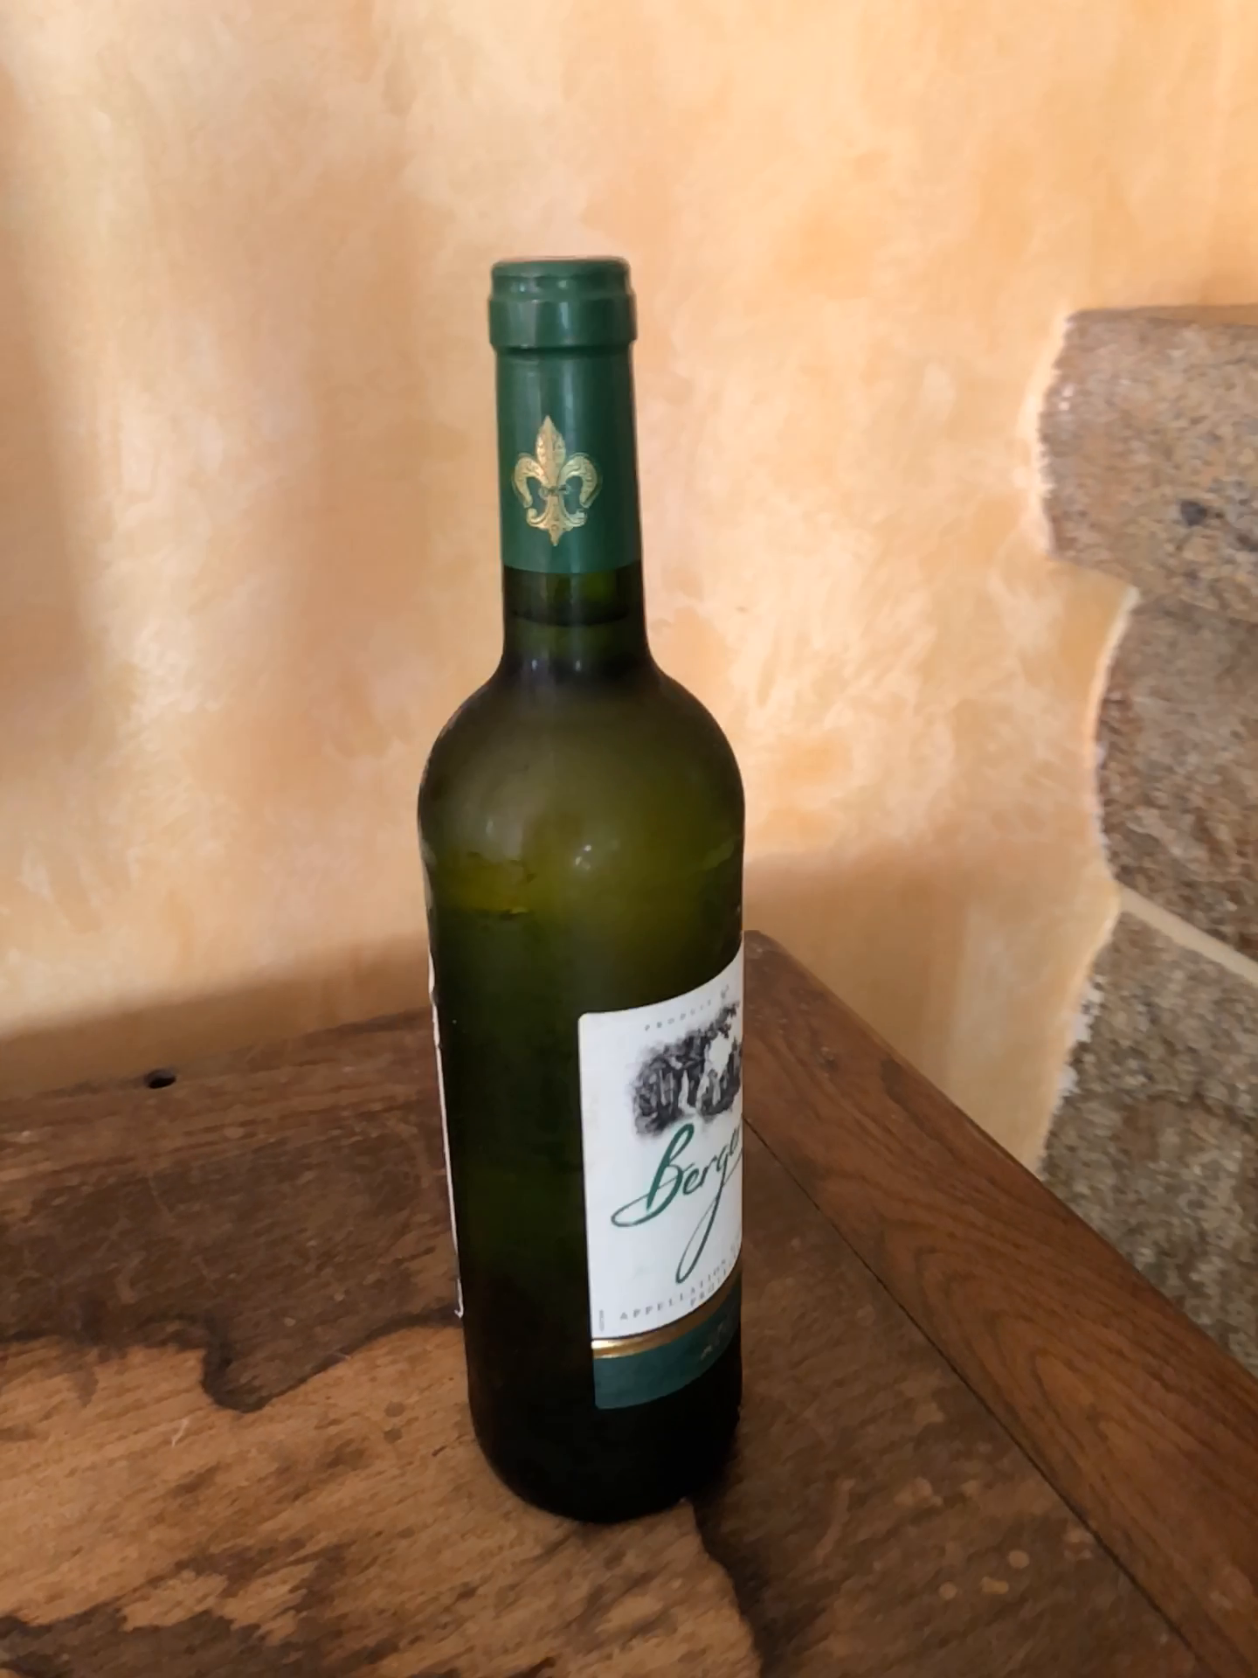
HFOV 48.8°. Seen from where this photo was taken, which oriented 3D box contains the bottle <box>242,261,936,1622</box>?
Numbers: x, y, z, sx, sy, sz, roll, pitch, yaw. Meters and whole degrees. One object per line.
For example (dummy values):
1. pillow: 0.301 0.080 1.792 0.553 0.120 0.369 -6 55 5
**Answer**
1. bottle: -0.005 0.020 0.304 0.090 0.269 0.090 0 23 0
